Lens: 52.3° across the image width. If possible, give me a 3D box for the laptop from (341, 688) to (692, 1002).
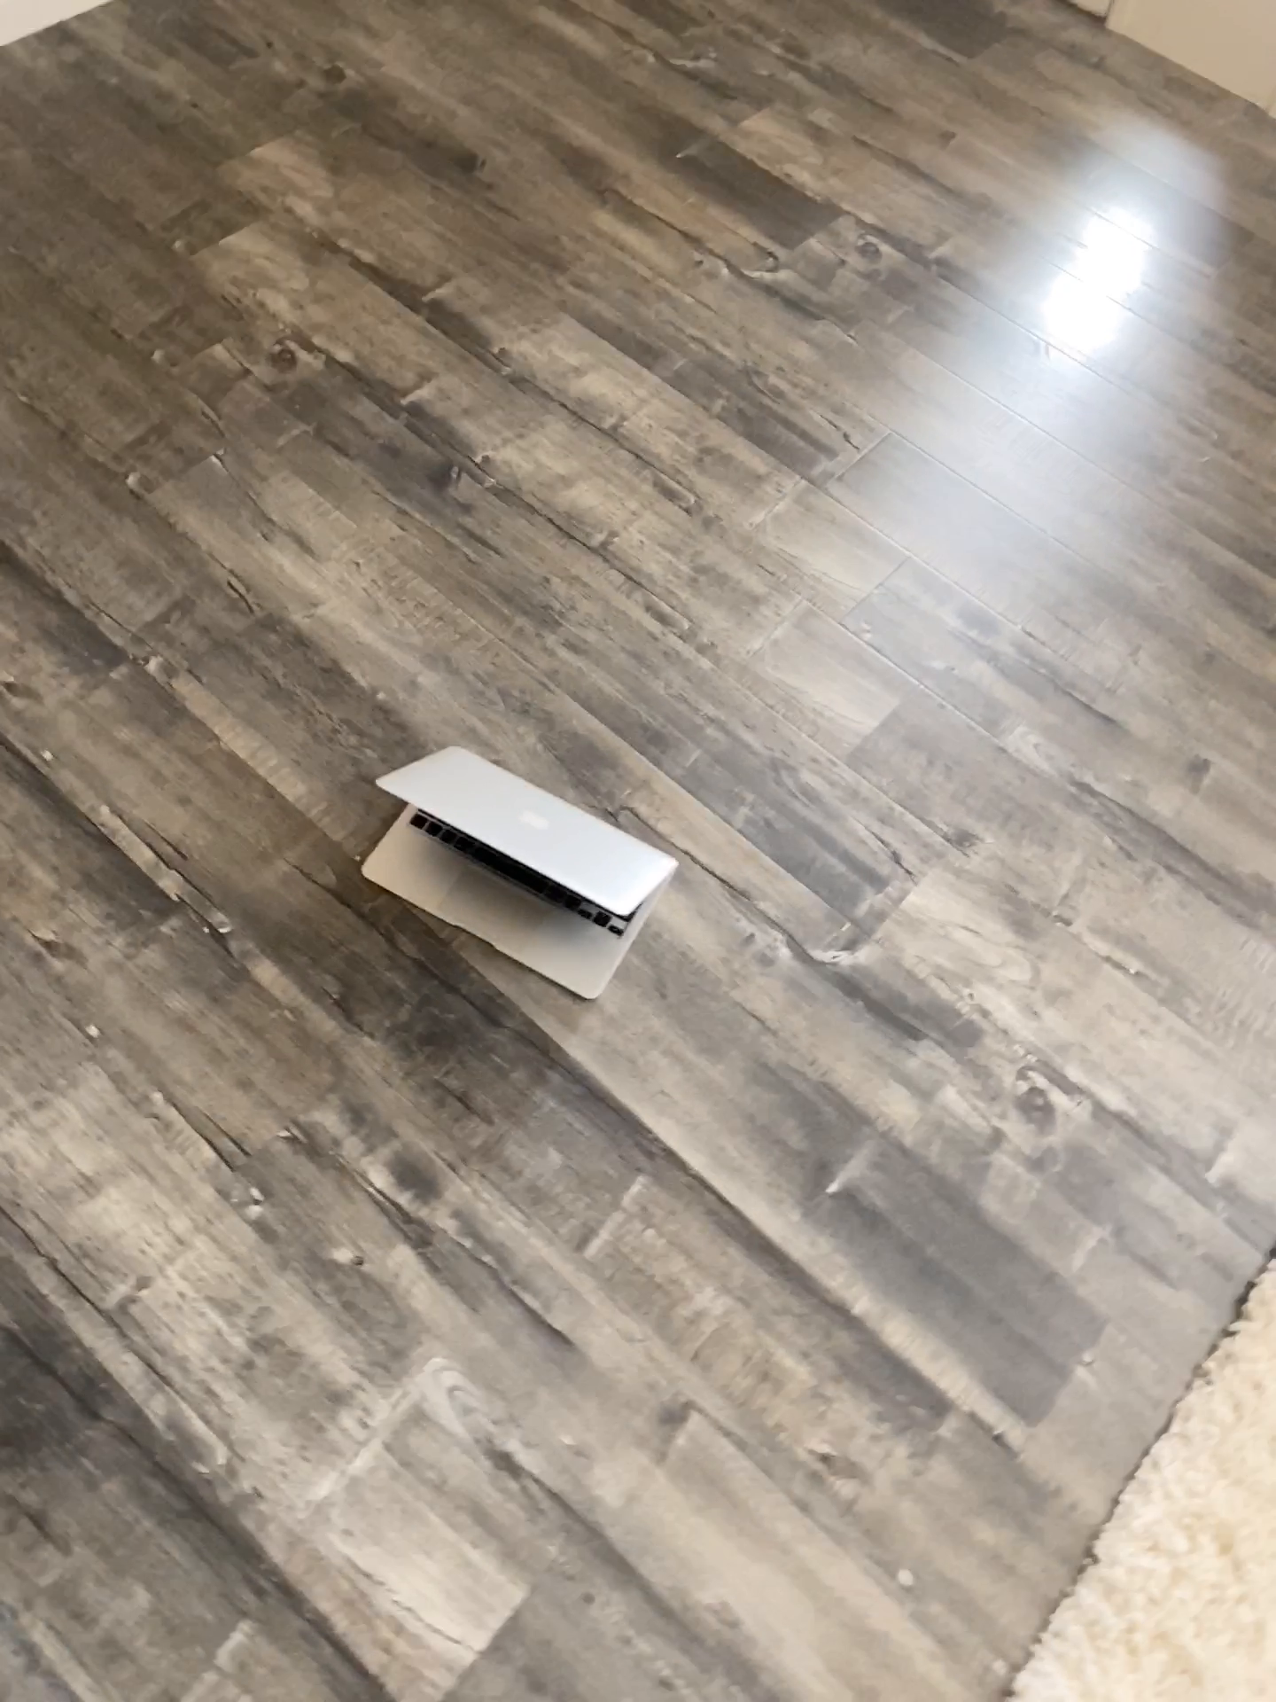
[{"bbox_3d":[-0.115,-0.007,1.255,0.270,0.113,0.173,28,60,9],"label":"laptop"}]
